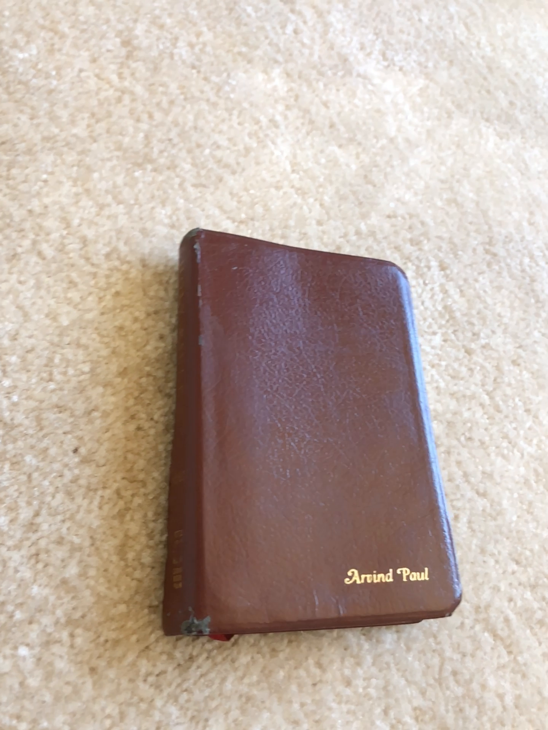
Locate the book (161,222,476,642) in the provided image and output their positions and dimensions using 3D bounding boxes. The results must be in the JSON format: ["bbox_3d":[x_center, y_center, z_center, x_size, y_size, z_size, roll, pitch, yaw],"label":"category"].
[{"bbox_3d":[0.012,0.026,0.256,0.110,0.040,0.157,5,66,-20],"label":"book"}]
